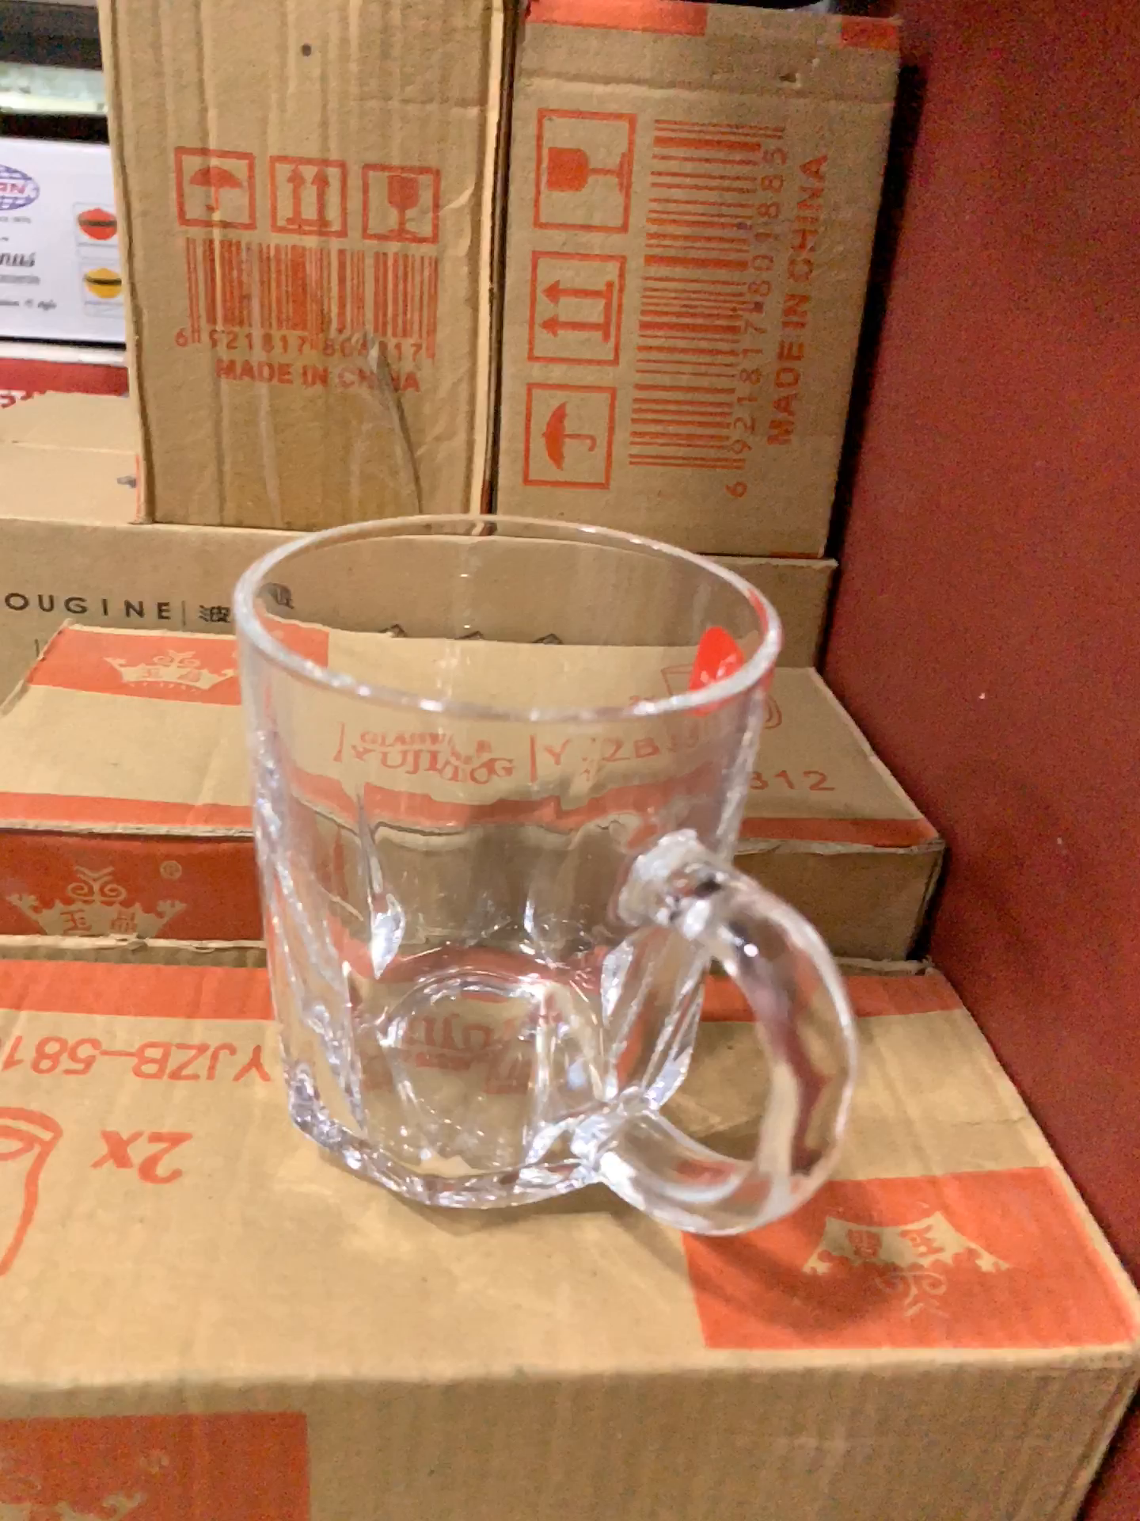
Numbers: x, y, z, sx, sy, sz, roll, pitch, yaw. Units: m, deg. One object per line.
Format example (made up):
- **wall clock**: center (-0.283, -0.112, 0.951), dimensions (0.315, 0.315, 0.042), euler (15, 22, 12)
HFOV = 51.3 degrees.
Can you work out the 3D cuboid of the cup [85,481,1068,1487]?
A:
- **cup**: center (-0.006, 0.013, 0.157), dimensions (0.069, 0.071, 0.100), euler (-18, 34, -39)
